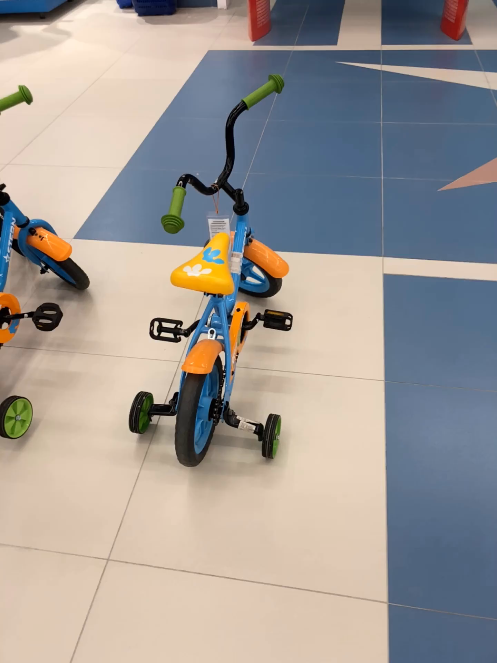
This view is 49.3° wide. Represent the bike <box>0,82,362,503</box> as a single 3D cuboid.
[{"bbox_3d":[-0.115,-0.117,1.302,0.564,0.681,0.754,-2,41,2],"label":"bike"}]
